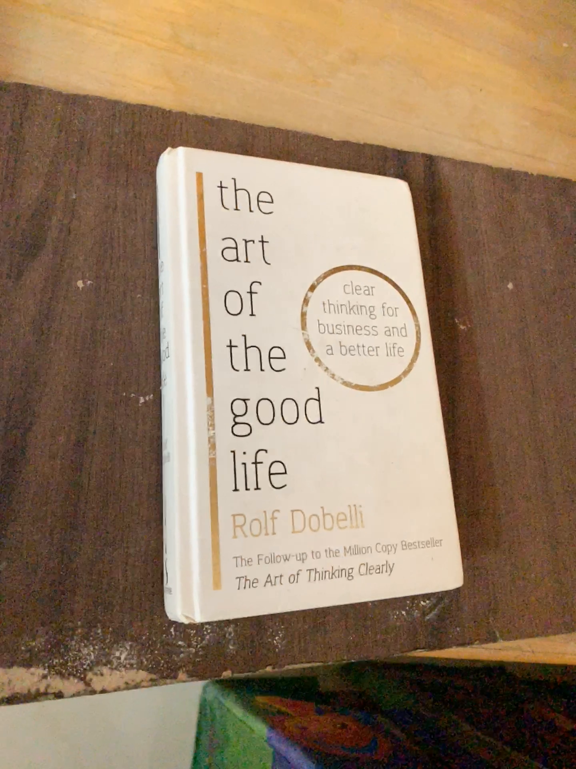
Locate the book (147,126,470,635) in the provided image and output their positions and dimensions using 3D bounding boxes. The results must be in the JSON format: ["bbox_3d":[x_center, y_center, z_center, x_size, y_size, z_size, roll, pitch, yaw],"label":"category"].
[{"bbox_3d":[0.004,-0.004,0.245,0.117,0.037,0.180,1,78,-19],"label":"book"}]
